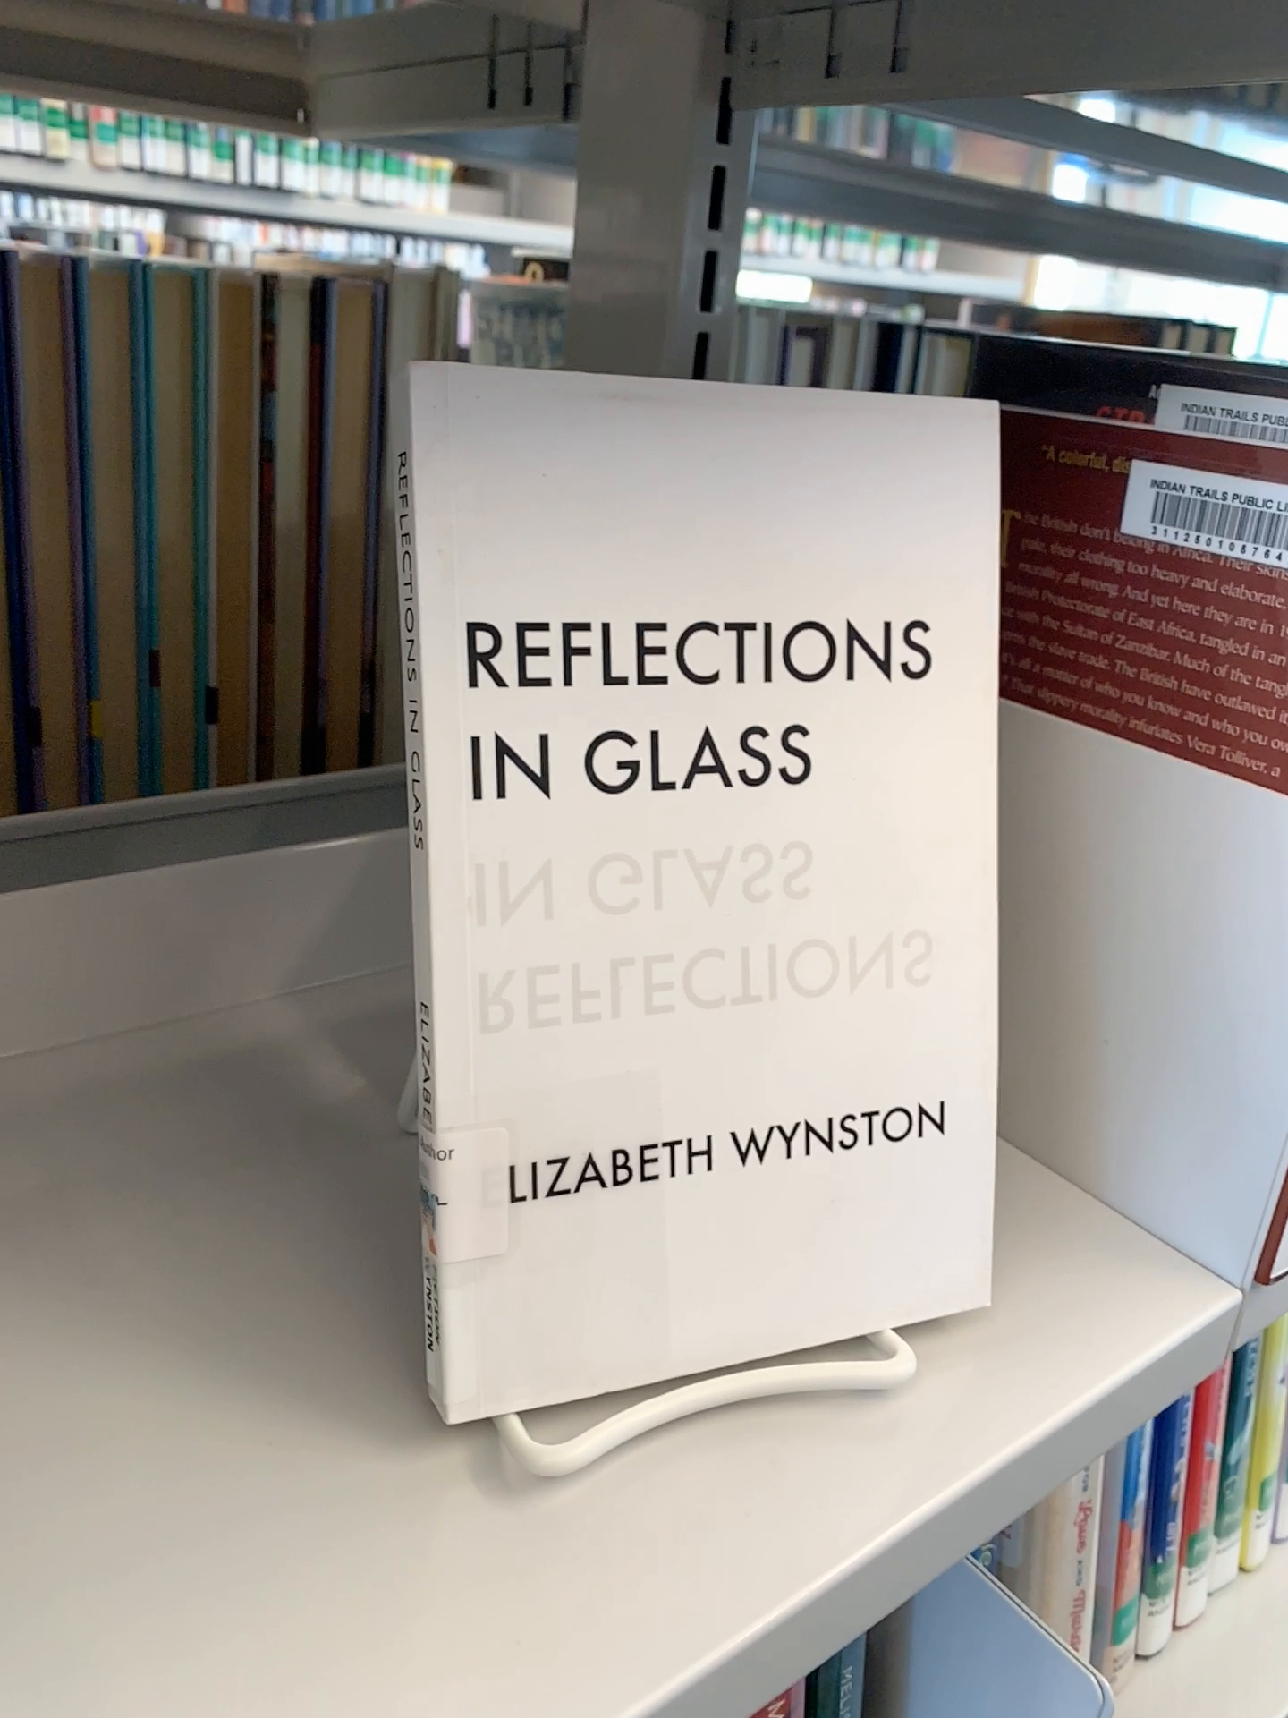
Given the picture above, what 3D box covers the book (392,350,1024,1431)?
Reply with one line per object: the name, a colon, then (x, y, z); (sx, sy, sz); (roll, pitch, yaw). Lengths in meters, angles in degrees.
book: (0.017, 0.006, 0.273); (0.127, 0.196, 0.018); (-3, 7, -22)
